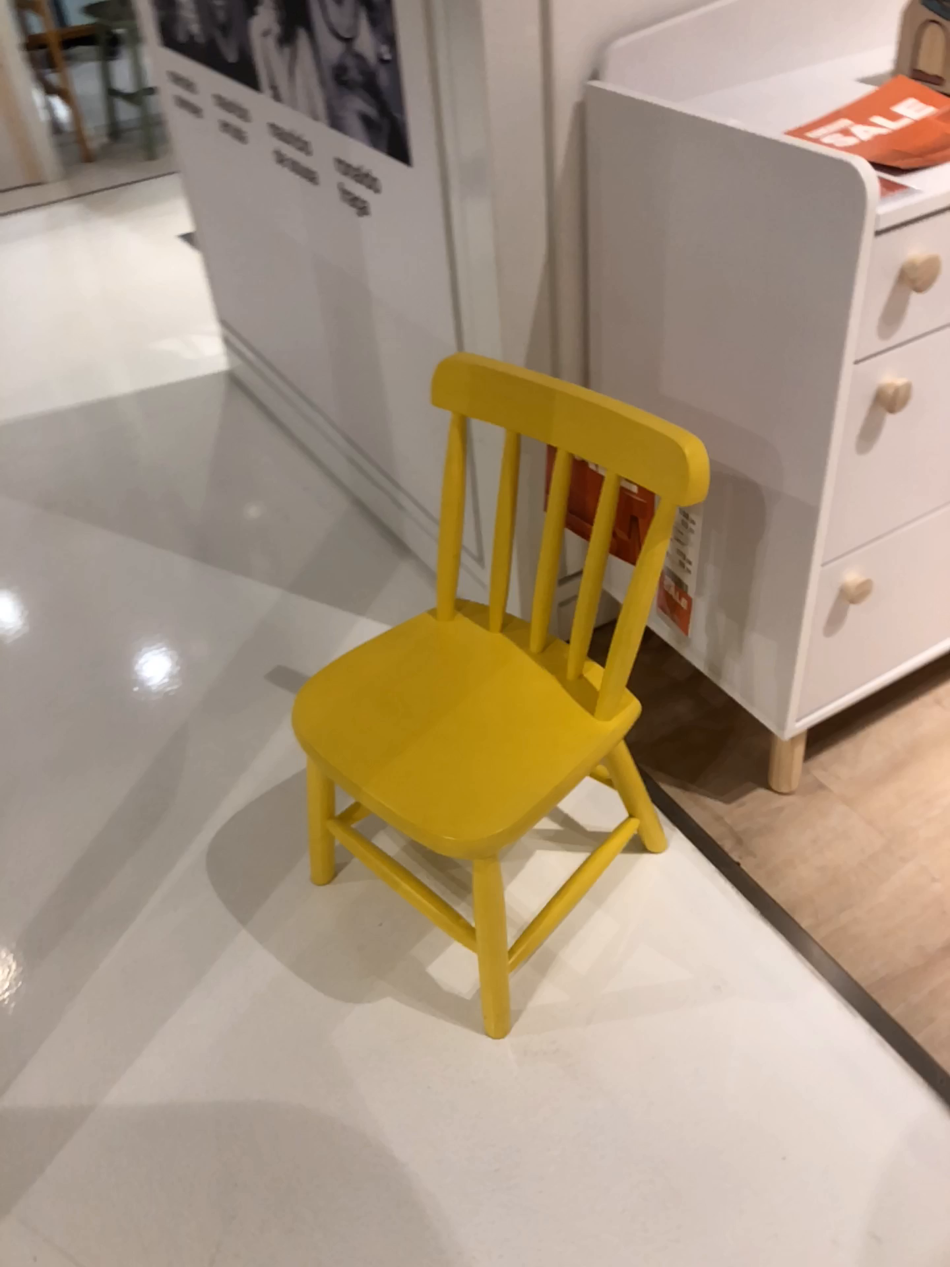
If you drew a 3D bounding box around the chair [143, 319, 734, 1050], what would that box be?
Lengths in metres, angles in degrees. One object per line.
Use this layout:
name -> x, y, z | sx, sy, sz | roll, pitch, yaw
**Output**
chair -> -0.012, 0.049, 1.124 | 0.381, 0.576, 0.371 | 28, 51, 33
